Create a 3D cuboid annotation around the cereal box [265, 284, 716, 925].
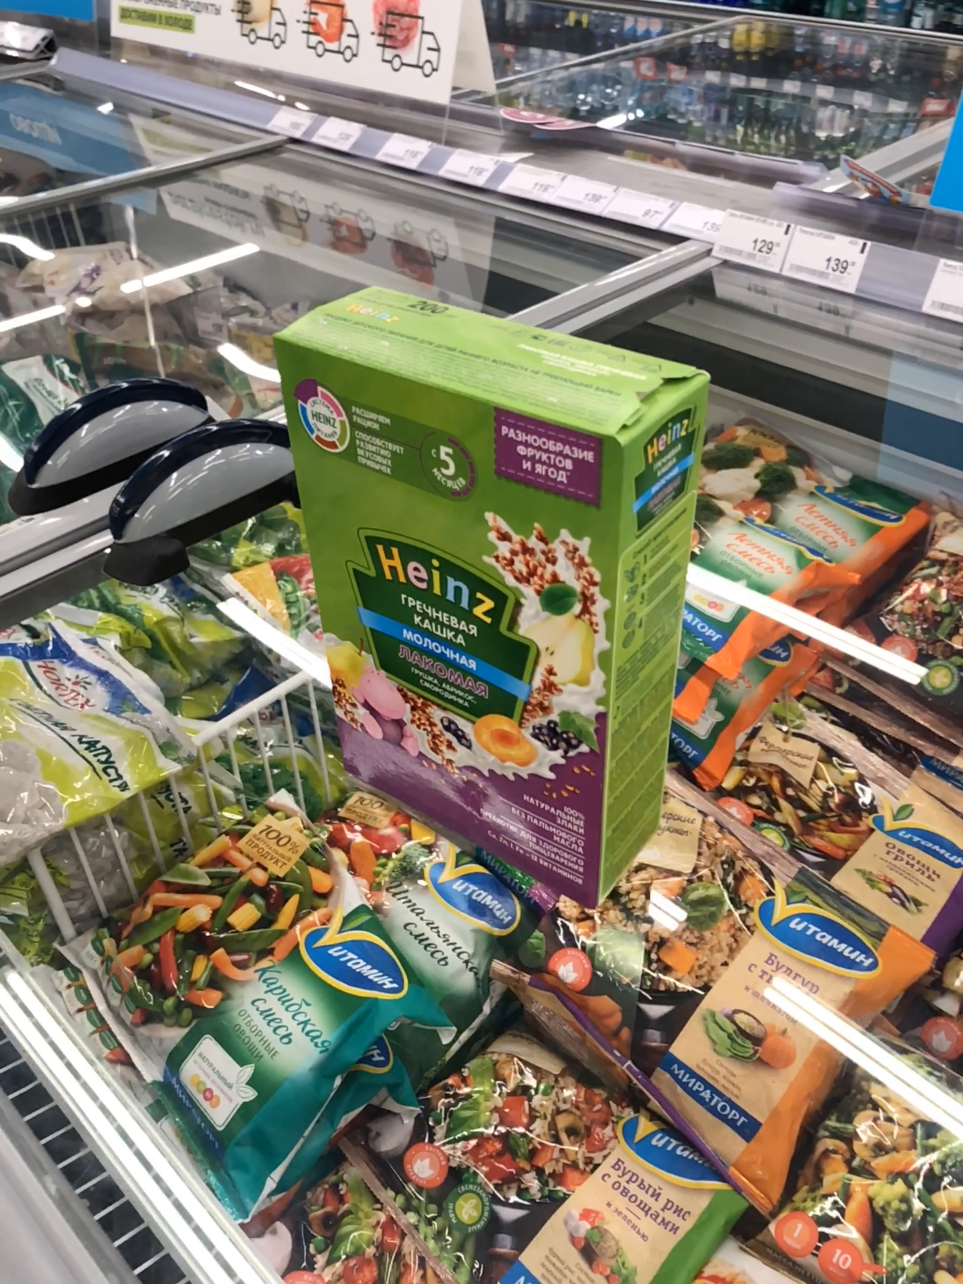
[{"bbox_3d":[0.002,-0.009,0.378,0.130,0.199,0.050,23,45,28],"label":"cereal box"}]
